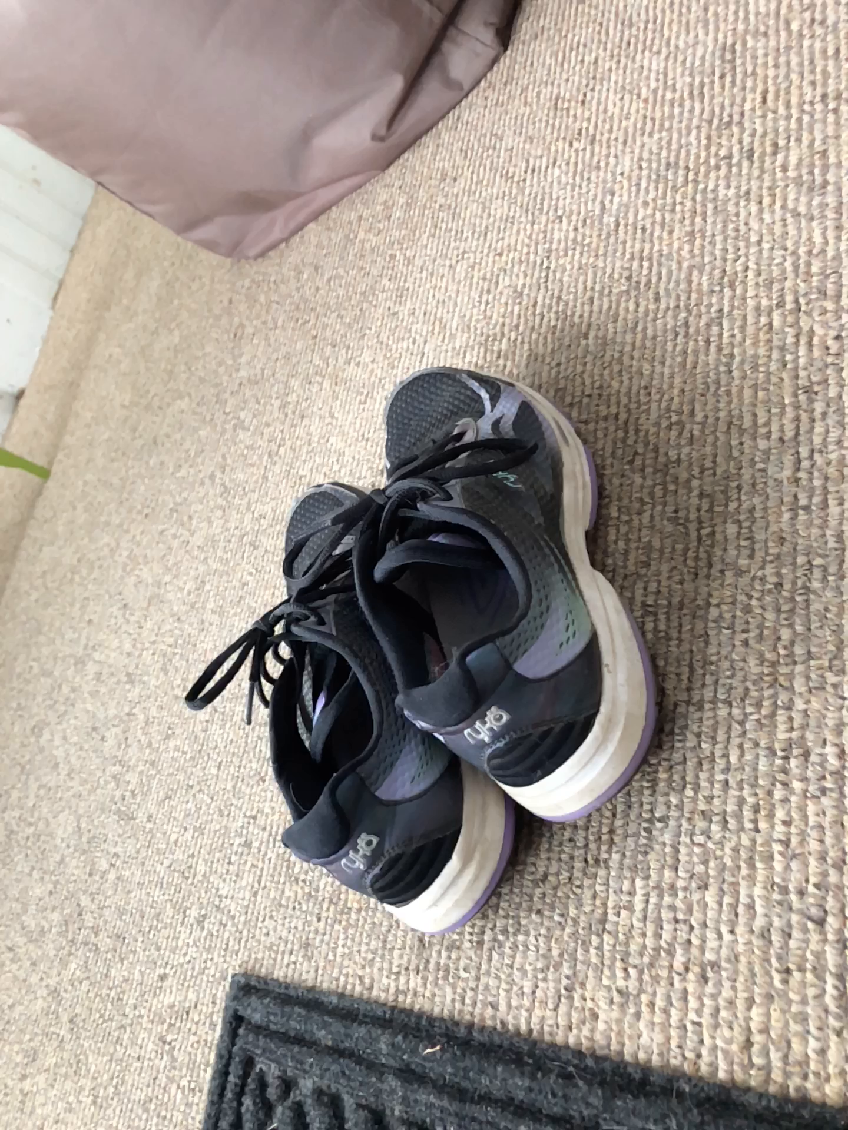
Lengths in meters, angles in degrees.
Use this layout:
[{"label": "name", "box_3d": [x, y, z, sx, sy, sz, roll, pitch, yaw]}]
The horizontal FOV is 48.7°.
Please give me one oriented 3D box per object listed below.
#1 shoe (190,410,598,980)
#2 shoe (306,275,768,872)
[{"label": "shoe", "box_3d": [-0.033, 0.054, 0.477, 0.110, 0.103, 0.258, -45, 40, 21]}, {"label": "shoe", "box_3d": [0.034, -0.008, 0.440, 0.102, 0.103, 0.258, -42, 41, 24]}]
